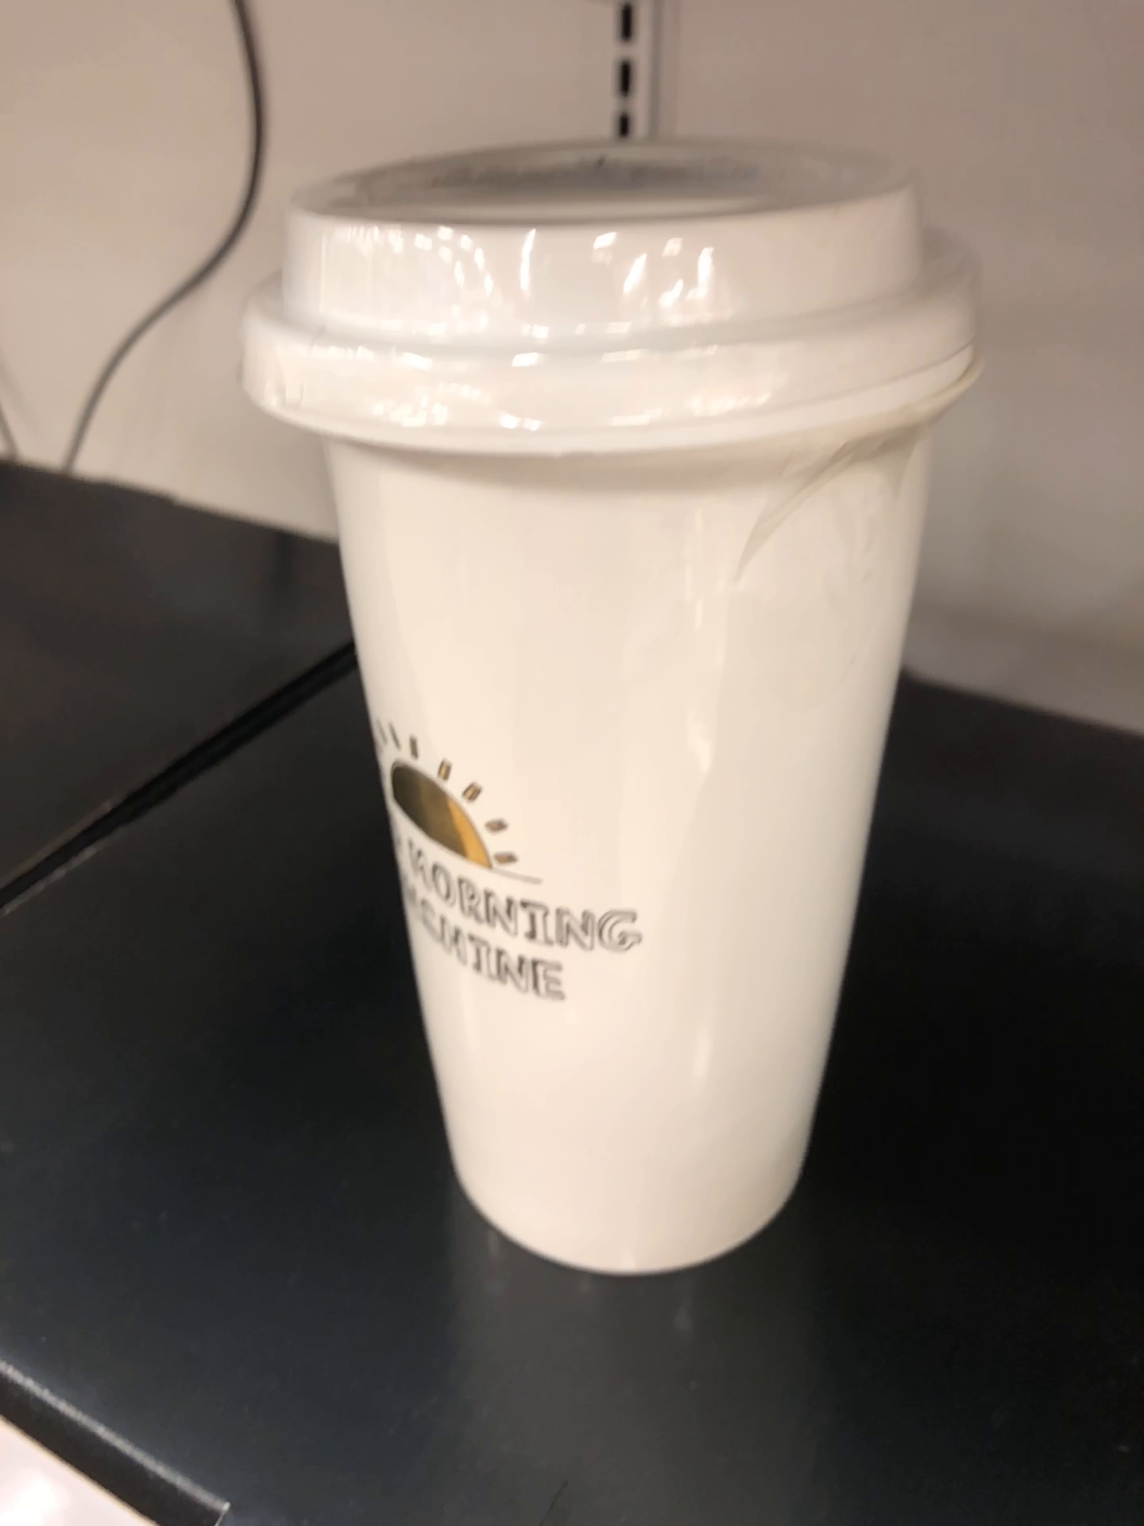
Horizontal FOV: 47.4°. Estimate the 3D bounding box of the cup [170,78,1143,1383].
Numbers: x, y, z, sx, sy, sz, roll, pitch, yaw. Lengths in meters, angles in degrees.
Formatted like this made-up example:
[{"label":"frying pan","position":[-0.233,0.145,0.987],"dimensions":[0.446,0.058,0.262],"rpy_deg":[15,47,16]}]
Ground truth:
[{"label":"cup","position":[0.009,-0.011,0.195],"dimensions":[0.100,0.149,0.100],"rpy_deg":[0,34,0]}]
